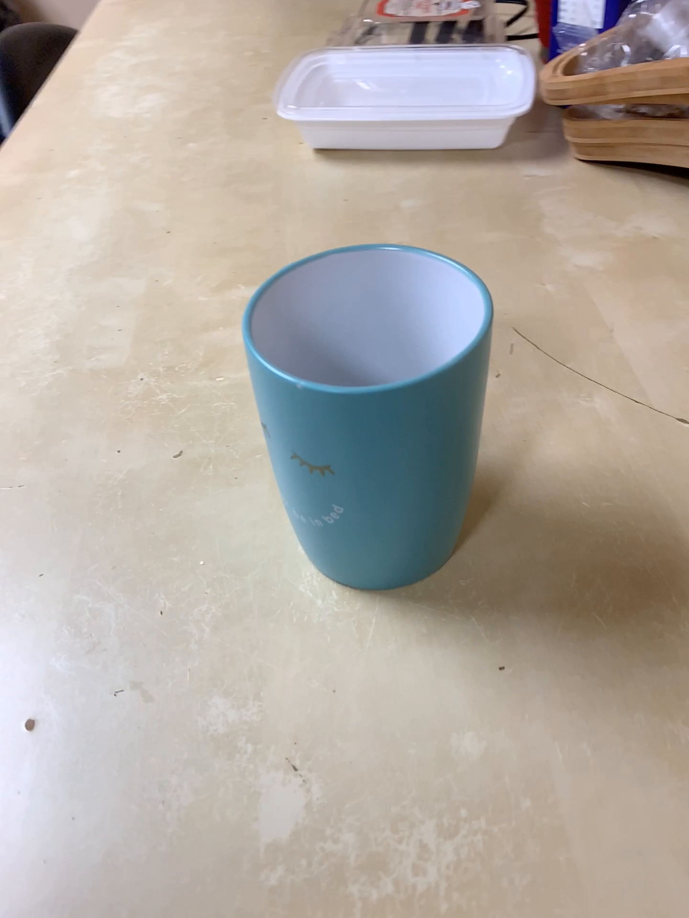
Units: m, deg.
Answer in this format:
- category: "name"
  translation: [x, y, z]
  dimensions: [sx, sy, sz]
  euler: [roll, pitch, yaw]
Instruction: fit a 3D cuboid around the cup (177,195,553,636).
- category: "cup"
  translation: [0.004, -0.022, 0.296]
  dimensions: [0.091, 0.114, 0.122]
  euler: [-22, 47, -15]
